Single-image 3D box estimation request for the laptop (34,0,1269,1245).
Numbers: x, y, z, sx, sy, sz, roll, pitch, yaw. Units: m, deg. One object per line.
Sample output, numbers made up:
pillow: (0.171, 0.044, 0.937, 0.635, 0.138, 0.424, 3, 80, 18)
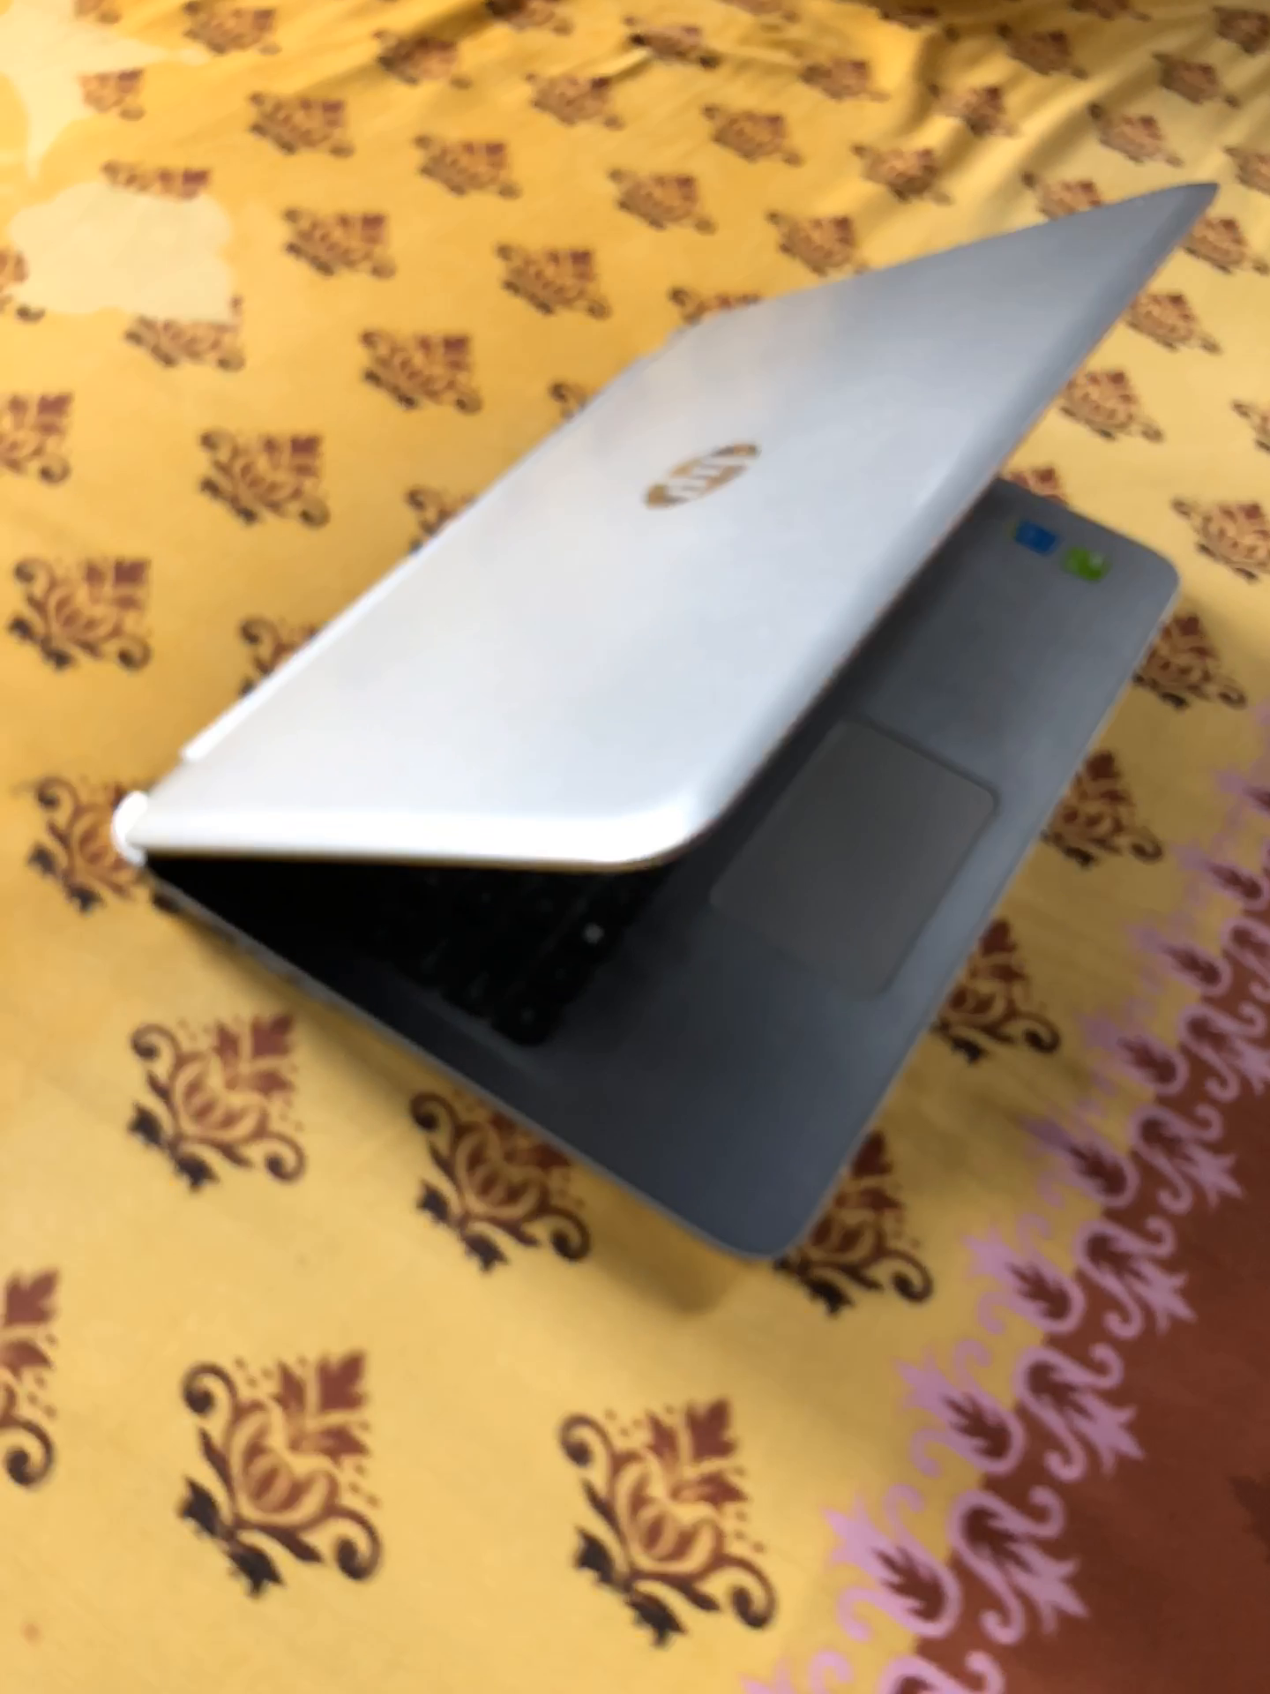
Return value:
laptop: (0.045, -0.111, 0.486, 0.249, 0.155, 0.374, 30, 55, 15)
